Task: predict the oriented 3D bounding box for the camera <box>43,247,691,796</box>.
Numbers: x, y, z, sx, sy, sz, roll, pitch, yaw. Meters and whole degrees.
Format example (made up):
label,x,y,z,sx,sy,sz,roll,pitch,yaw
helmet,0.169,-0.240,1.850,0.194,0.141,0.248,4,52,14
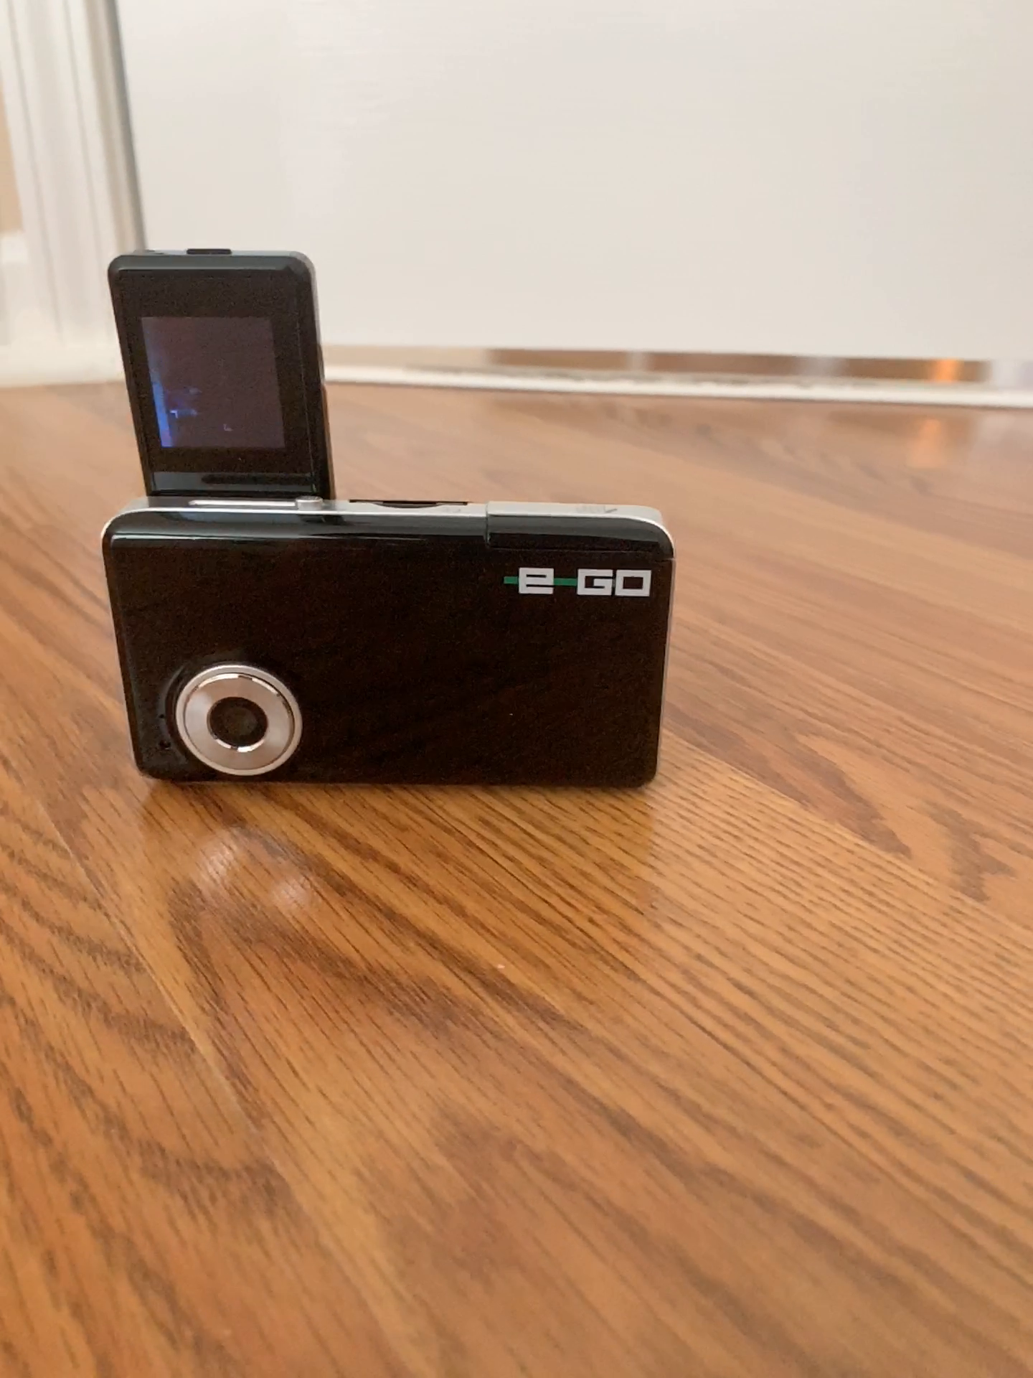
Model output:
label,x,y,z,sx,sy,sz,roll,pitch,yaw
camera,-0.028,-0.033,0.228,0.118,0.111,0.022,1,24,1
